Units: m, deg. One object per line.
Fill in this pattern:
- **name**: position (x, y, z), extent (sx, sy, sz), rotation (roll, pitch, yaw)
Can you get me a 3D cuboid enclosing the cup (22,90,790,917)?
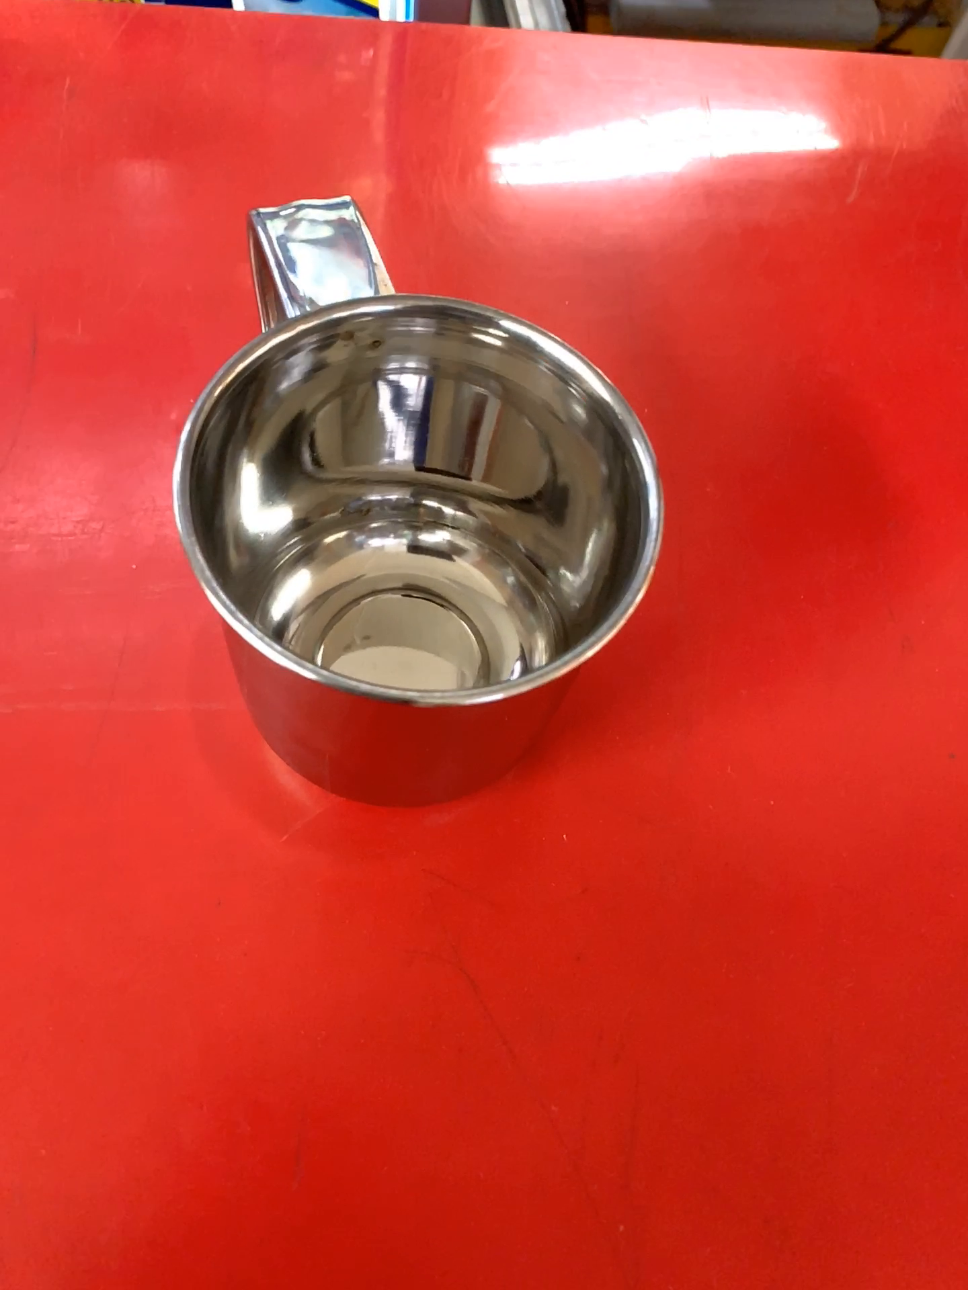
- **cup**: position (-0.019, -0.026, 0.175), extent (0.079, 0.065, 0.110), rotation (-16, 66, -15)
